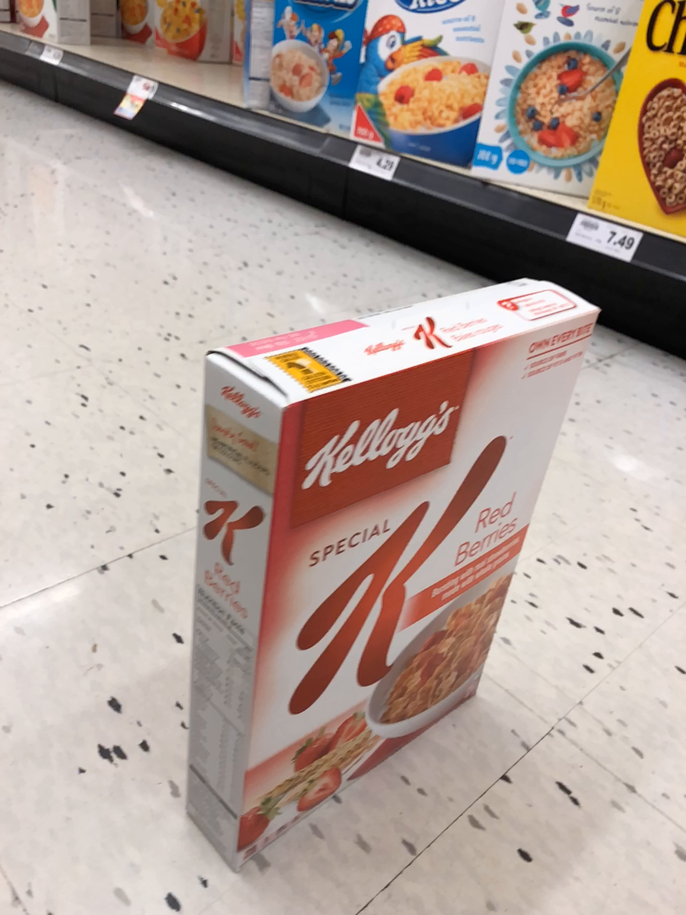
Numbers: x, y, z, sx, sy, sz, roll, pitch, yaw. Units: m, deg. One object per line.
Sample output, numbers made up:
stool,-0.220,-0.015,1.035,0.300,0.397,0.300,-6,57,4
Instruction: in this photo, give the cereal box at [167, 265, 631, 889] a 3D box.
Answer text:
cereal box,0.023,0.052,0.377,0.211,0.258,0.060,-20,41,-39
